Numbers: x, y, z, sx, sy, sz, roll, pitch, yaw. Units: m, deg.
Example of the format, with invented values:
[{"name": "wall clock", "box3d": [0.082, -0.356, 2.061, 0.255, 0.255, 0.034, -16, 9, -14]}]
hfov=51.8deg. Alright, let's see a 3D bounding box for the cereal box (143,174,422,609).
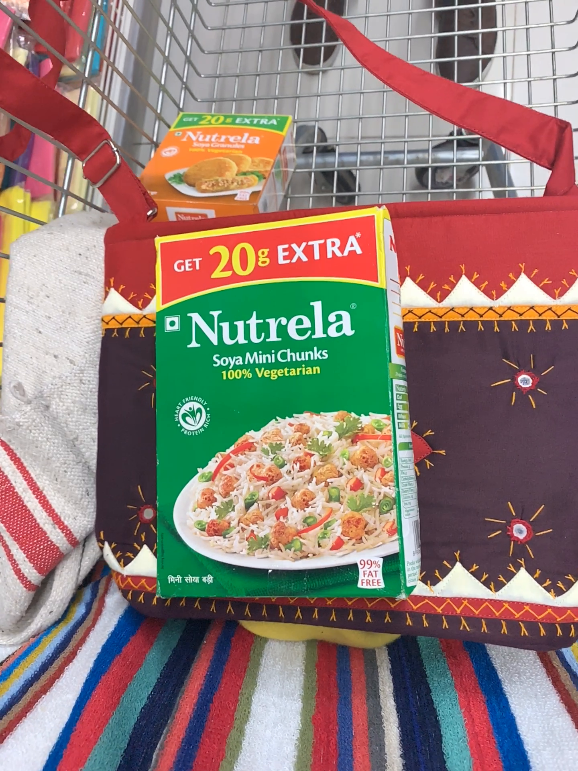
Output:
[{"name": "cereal box", "box3d": [-0.004, 0.006, 0.295, 0.120, 0.050, 0.190, -5, 82, 12]}]
